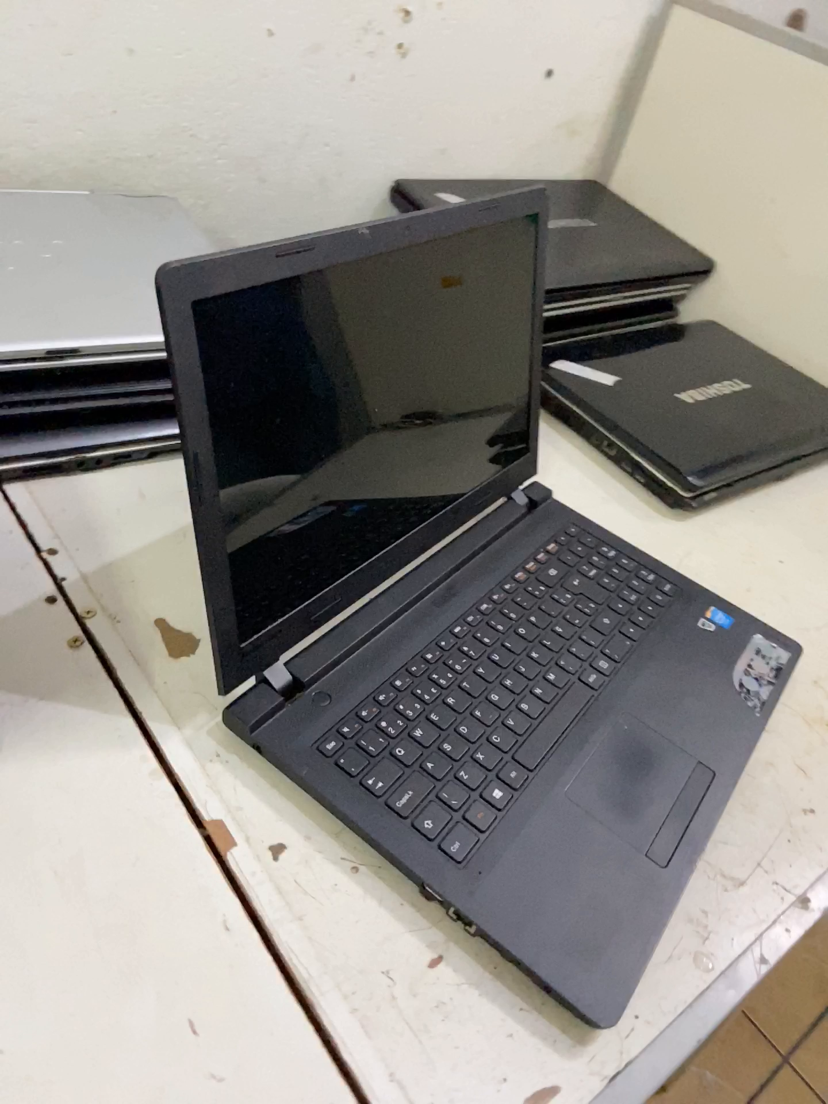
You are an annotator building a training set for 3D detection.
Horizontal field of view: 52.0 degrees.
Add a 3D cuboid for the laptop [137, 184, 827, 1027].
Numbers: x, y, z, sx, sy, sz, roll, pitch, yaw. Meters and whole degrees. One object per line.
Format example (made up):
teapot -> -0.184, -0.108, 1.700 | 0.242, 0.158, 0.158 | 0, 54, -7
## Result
laptop -> 0.094, -0.028, 0.528 | 0.337, 0.230, 0.377 | 34, 41, 19
